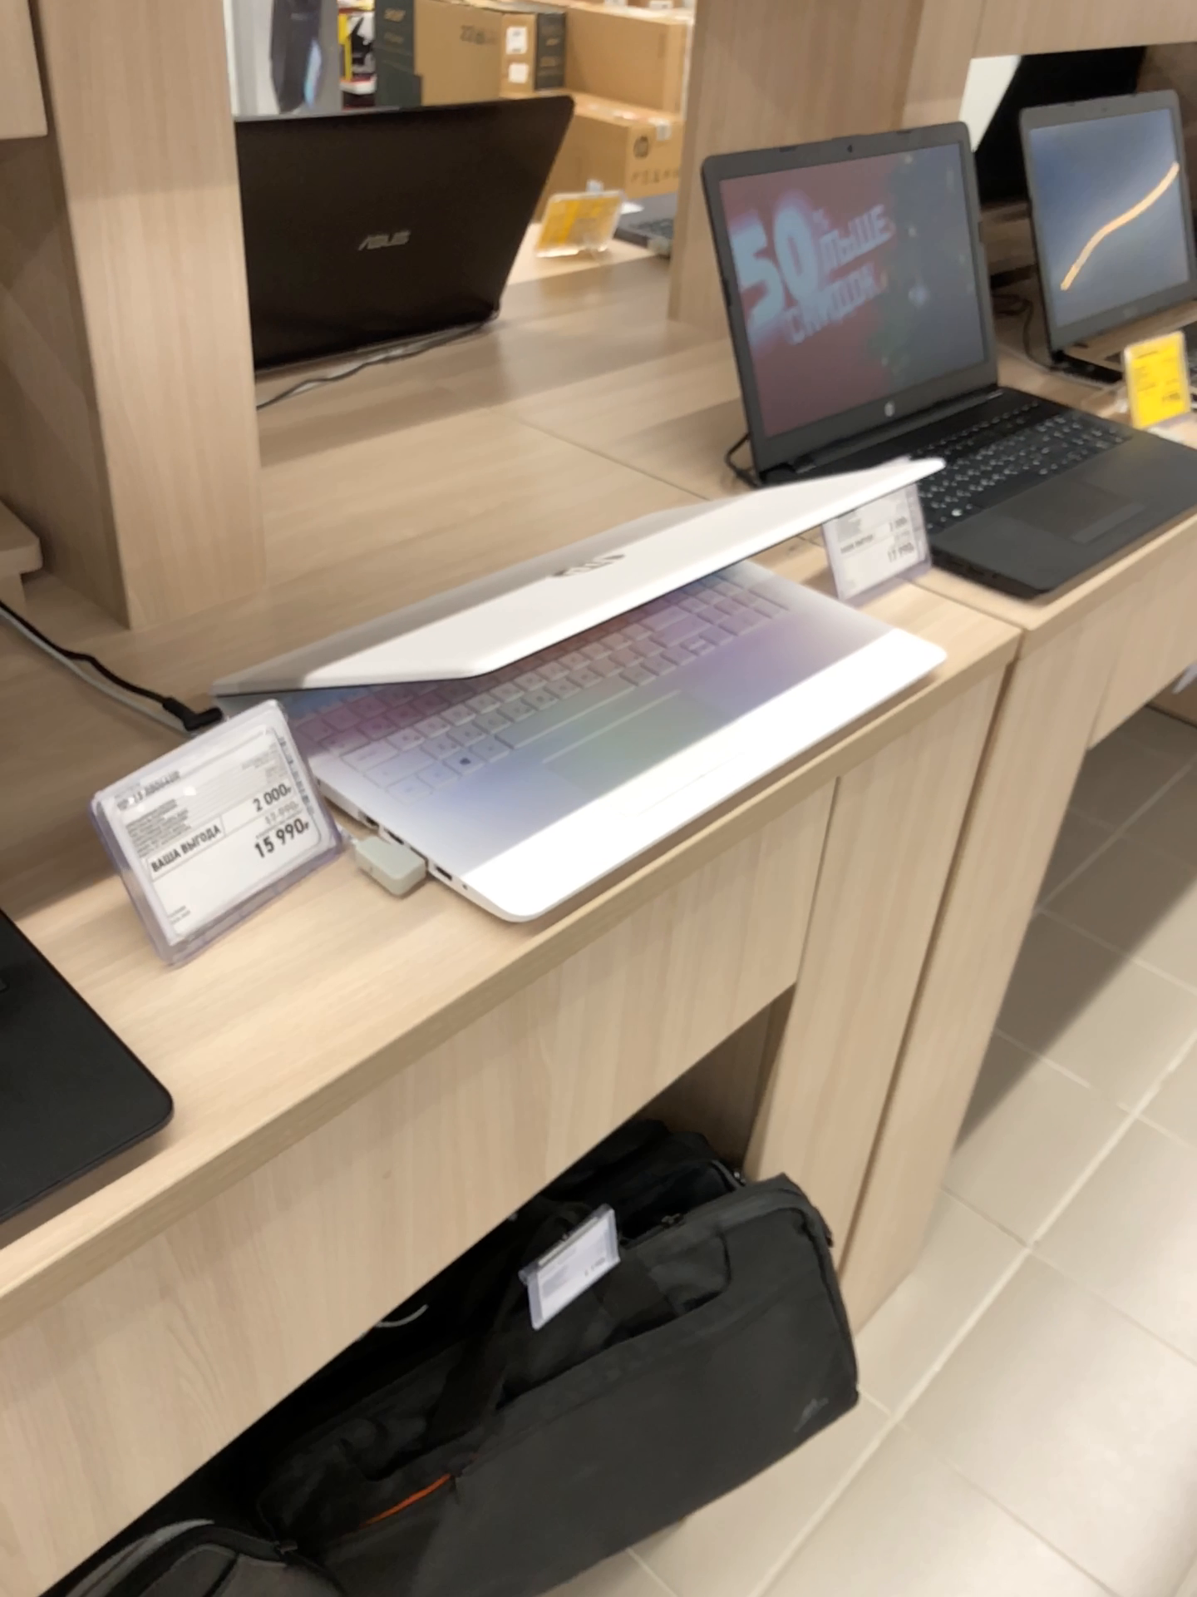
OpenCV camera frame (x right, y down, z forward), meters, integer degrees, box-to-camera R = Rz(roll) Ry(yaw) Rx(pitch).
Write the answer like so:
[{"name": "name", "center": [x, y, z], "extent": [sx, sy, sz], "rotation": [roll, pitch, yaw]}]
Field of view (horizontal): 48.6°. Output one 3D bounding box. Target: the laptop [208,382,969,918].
[{"name": "laptop", "center": [0.007, -0.114, 0.754], "extent": [0.232, 0.103, 0.369], "rotation": [32, 44, 31]}]

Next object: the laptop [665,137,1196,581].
[{"name": "laptop", "center": [0.319, -0.385, 1.080], "extent": [0.350, 0.219, 0.392], "rotation": [29, 40, 32]}]

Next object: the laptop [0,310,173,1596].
[{"name": "laptop", "center": [-0.426, 0.019, 0.415], "extent": [0.368, 0.203, 0.387], "rotation": [31, 42, 32]}]
